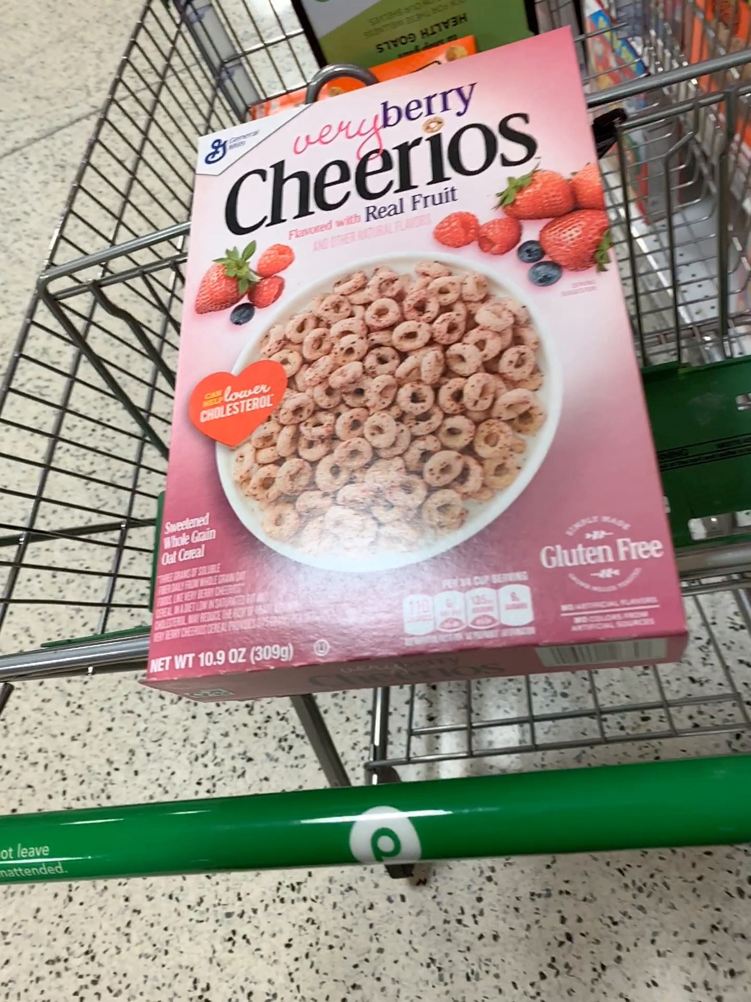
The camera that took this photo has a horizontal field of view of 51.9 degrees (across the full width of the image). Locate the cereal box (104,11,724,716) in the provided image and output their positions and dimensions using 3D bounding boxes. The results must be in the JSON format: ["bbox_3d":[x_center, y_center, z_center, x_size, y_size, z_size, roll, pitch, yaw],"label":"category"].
[{"bbox_3d":[0.007,-0.061,0.337,0.210,0.060,0.282,-9,64,16],"label":"cereal box"}]
